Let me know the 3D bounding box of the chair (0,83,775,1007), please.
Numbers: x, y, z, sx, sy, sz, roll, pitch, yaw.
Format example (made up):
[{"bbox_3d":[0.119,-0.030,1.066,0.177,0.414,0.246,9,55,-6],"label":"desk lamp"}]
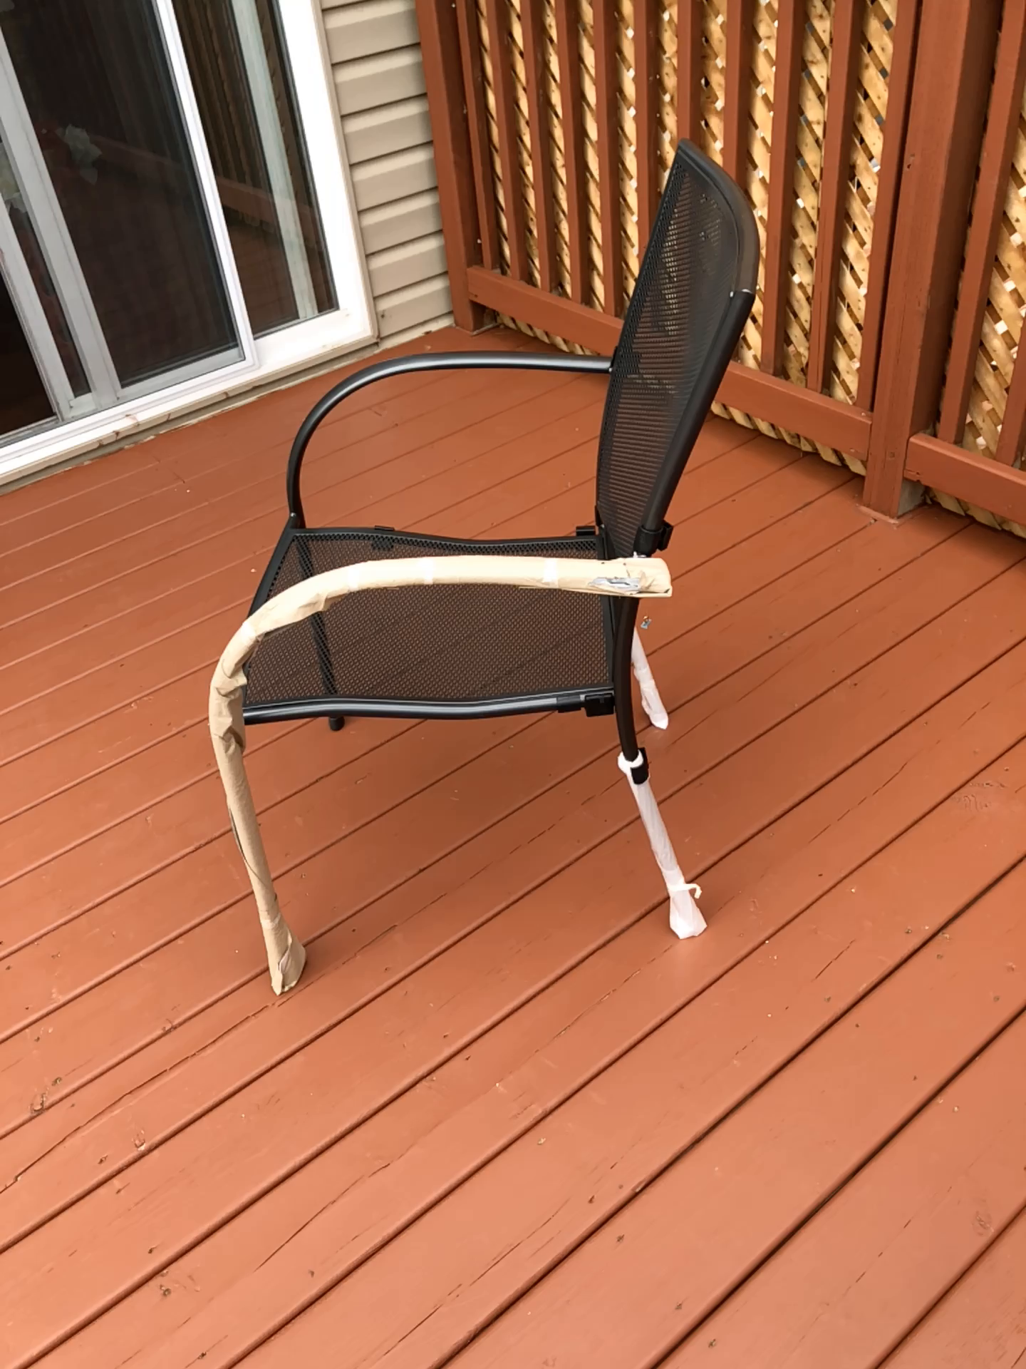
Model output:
[{"bbox_3d":[-0.069,-0.141,1.416,0.650,0.926,0.602,-3,39,5],"label":"chair"}]
